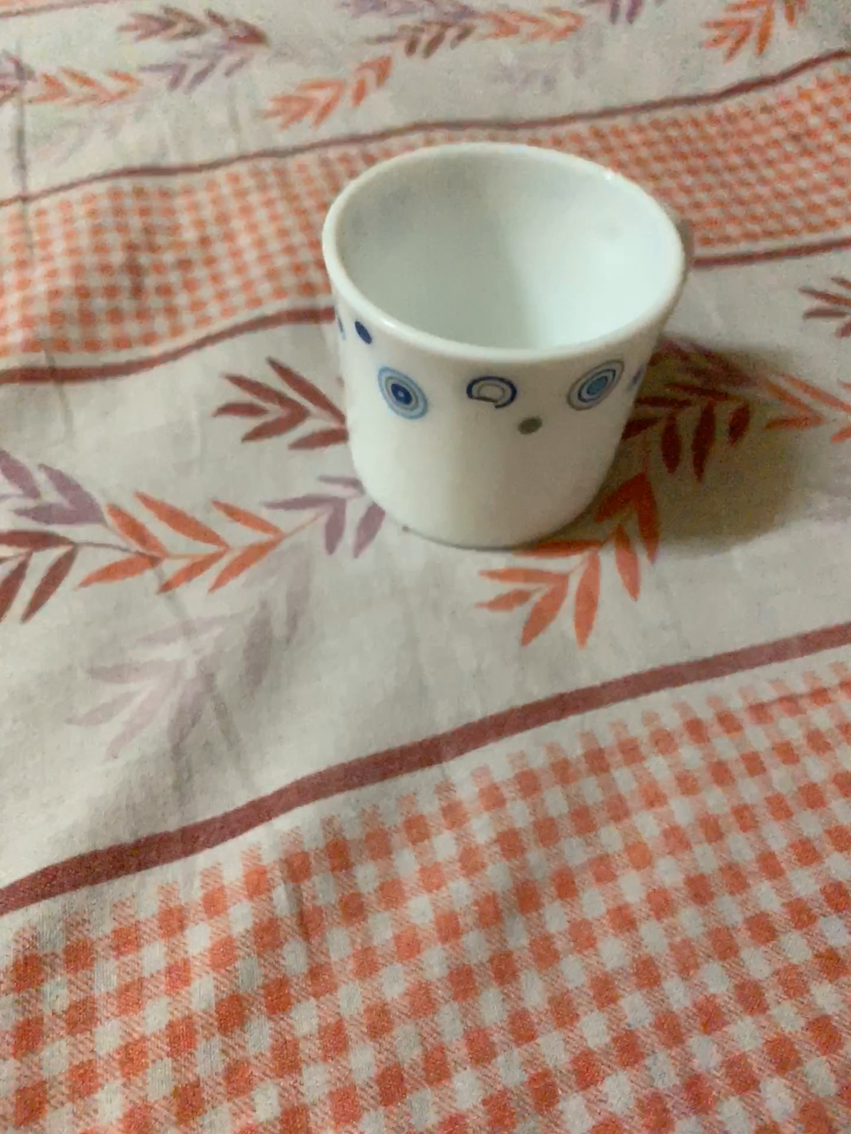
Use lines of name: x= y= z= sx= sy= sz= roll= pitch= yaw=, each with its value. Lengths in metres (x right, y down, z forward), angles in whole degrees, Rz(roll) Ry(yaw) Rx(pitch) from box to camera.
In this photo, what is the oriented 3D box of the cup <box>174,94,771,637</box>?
cup: x=0.008 y=-0.049 z=0.212 sx=0.100 sy=0.070 sz=0.070 roll=-24 pitch=58 yaw=-18
